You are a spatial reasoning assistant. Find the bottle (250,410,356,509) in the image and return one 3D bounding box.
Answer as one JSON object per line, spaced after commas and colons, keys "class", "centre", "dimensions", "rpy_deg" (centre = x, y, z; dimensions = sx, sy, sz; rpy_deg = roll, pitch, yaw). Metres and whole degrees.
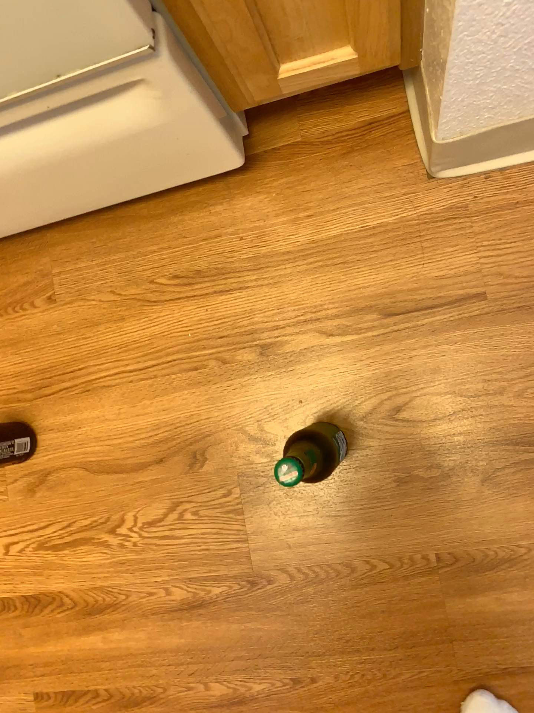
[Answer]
{"class": "bottle", "centre": [0.050, 0.104, 0.607], "dimensions": [0.050, 0.230, 0.060], "rpy_deg": [-38, 79, 10]}
